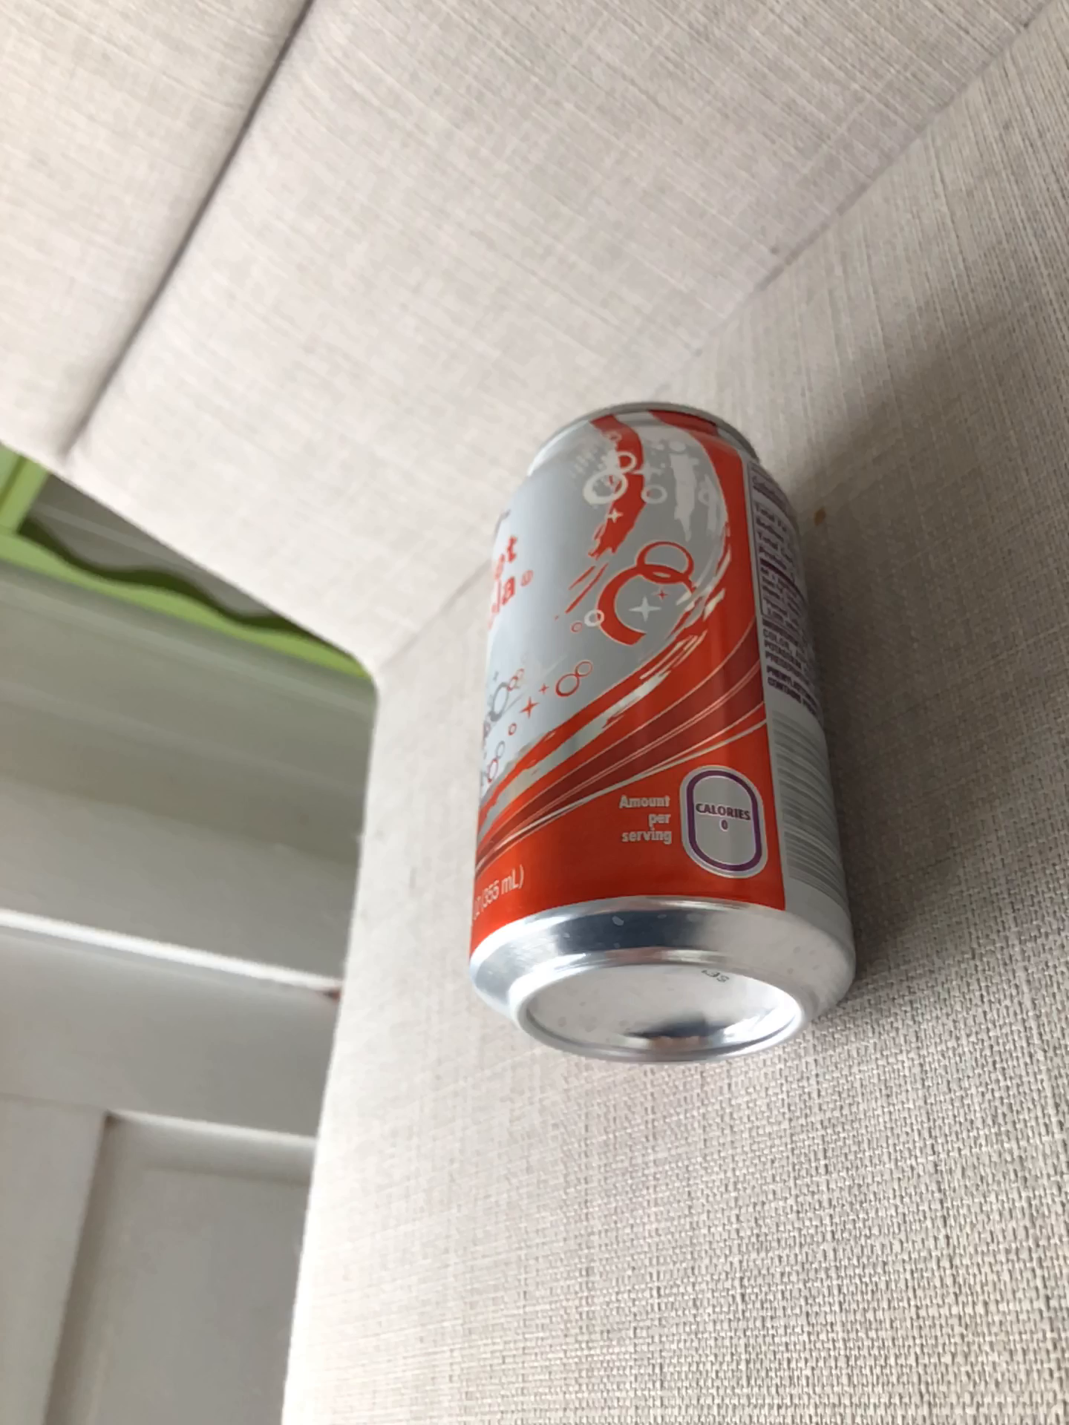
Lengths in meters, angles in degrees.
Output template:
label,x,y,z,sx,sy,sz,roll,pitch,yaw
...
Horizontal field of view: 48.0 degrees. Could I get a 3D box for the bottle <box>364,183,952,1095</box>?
label,x,y,z,sx,sy,sz,roll,pitch,yaw
bottle,0.016,-0.015,0.231,0.070,0.062,0.150,-38,42,43
